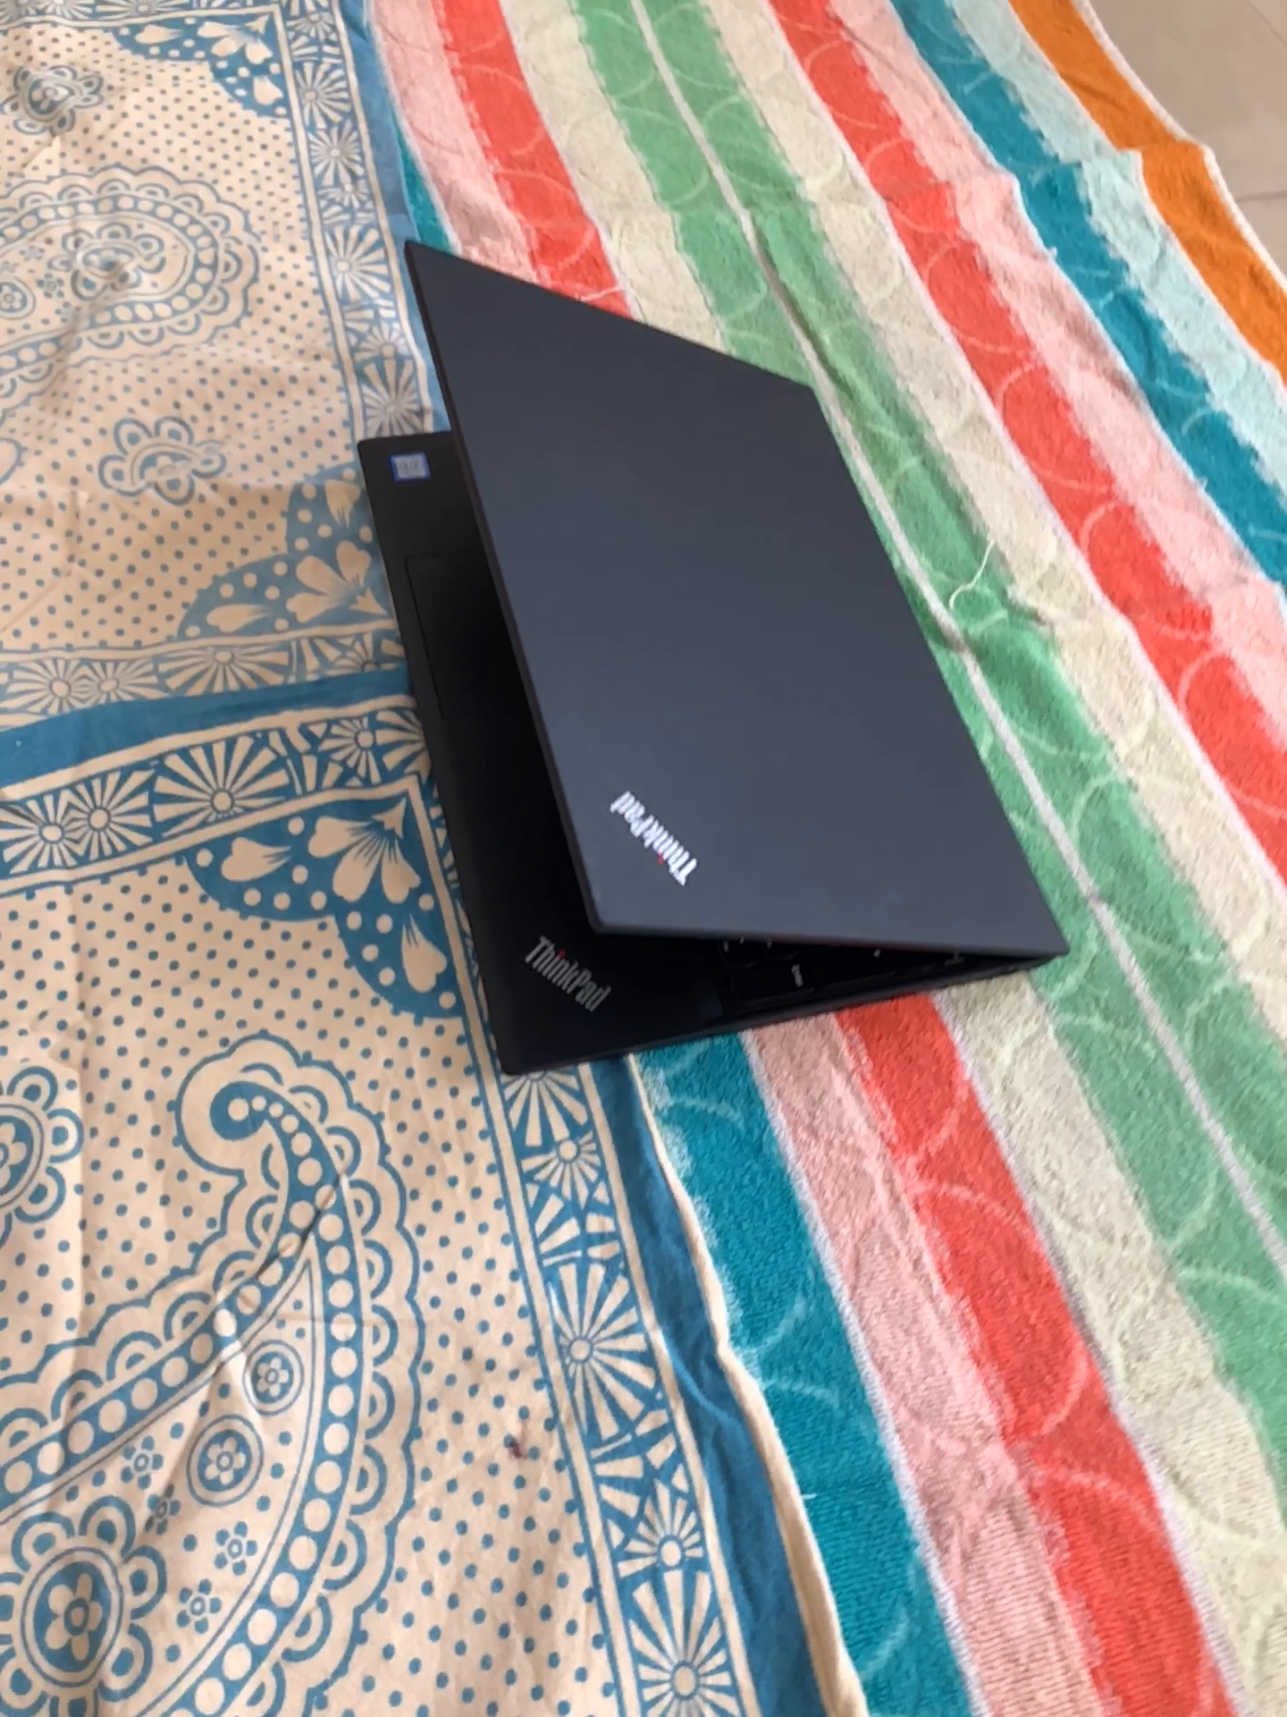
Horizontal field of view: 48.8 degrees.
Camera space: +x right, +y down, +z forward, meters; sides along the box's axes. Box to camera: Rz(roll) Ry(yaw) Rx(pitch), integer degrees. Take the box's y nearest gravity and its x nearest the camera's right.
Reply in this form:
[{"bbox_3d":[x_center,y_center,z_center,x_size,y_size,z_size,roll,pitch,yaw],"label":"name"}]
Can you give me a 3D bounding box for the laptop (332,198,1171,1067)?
[{"bbox_3d":[0.024,-0.115,0.618,0.243,0.121,0.346,-10,63,-13],"label":"laptop"}]
